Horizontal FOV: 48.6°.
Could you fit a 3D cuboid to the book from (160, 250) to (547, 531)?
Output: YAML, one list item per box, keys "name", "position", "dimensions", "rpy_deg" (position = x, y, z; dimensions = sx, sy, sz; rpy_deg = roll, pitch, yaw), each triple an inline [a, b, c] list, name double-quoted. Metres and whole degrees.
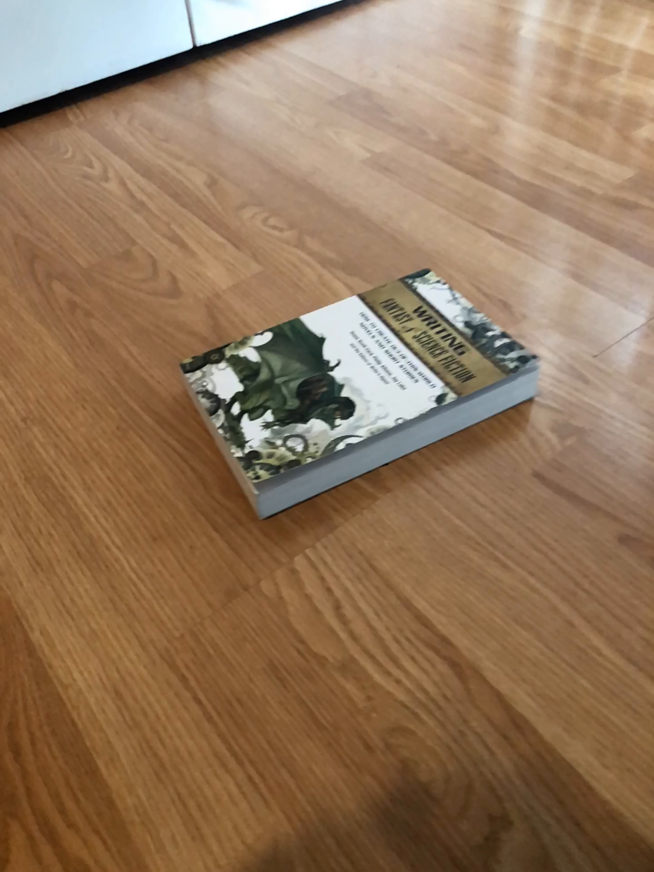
- name: "book"
  position: [0.015, -0.047, 0.538]
  dimensions: [0.228, 0.040, 0.165]
  rpy_deg: [-23, 50, -16]
